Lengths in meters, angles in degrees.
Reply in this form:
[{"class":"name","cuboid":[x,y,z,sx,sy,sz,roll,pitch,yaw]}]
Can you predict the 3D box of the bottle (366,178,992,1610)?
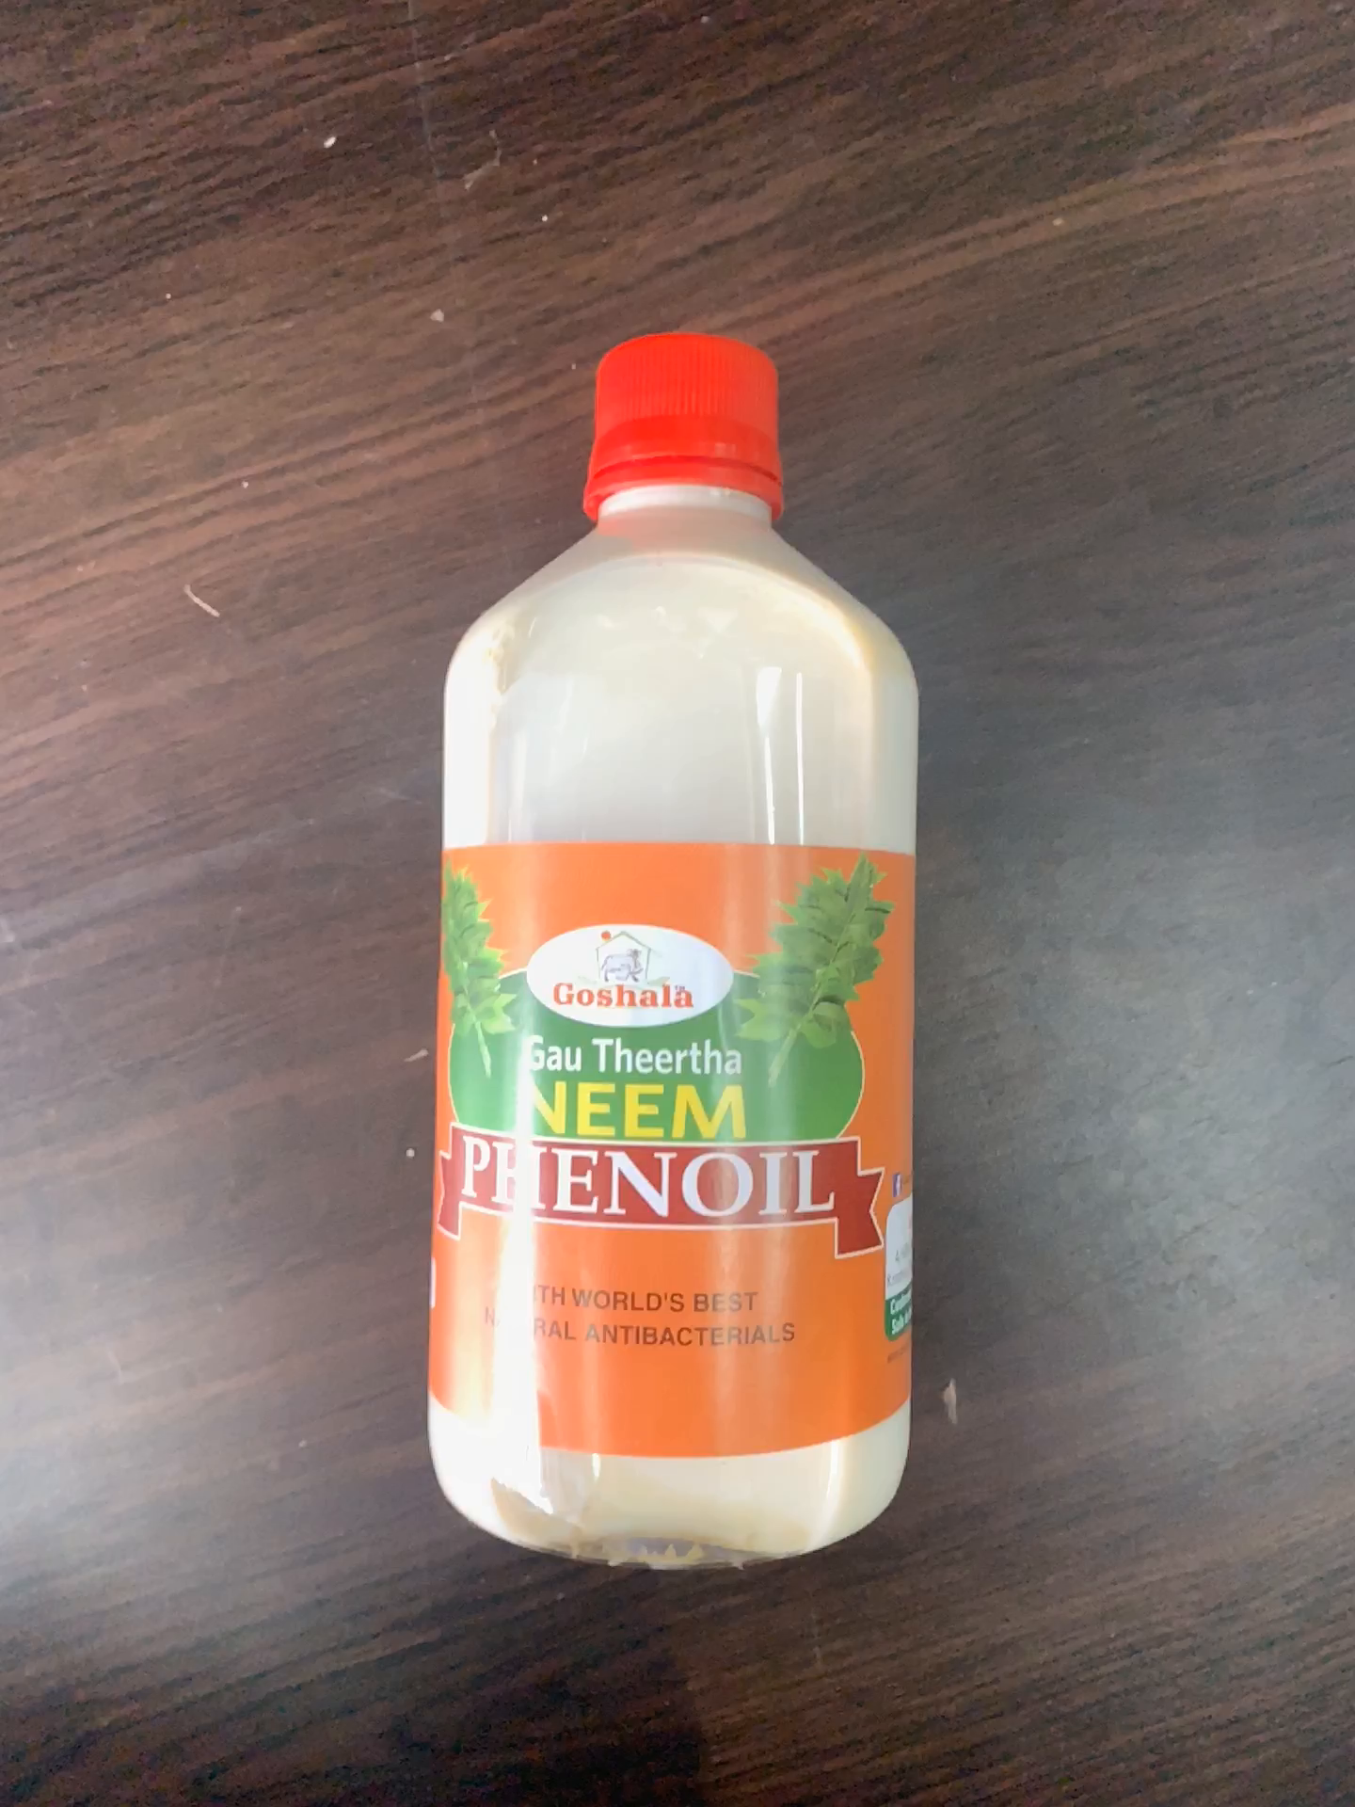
[{"class":"bottle","cuboid":[0.001,-0.002,0.224,0.080,0.070,0.190,1,90,2]}]
